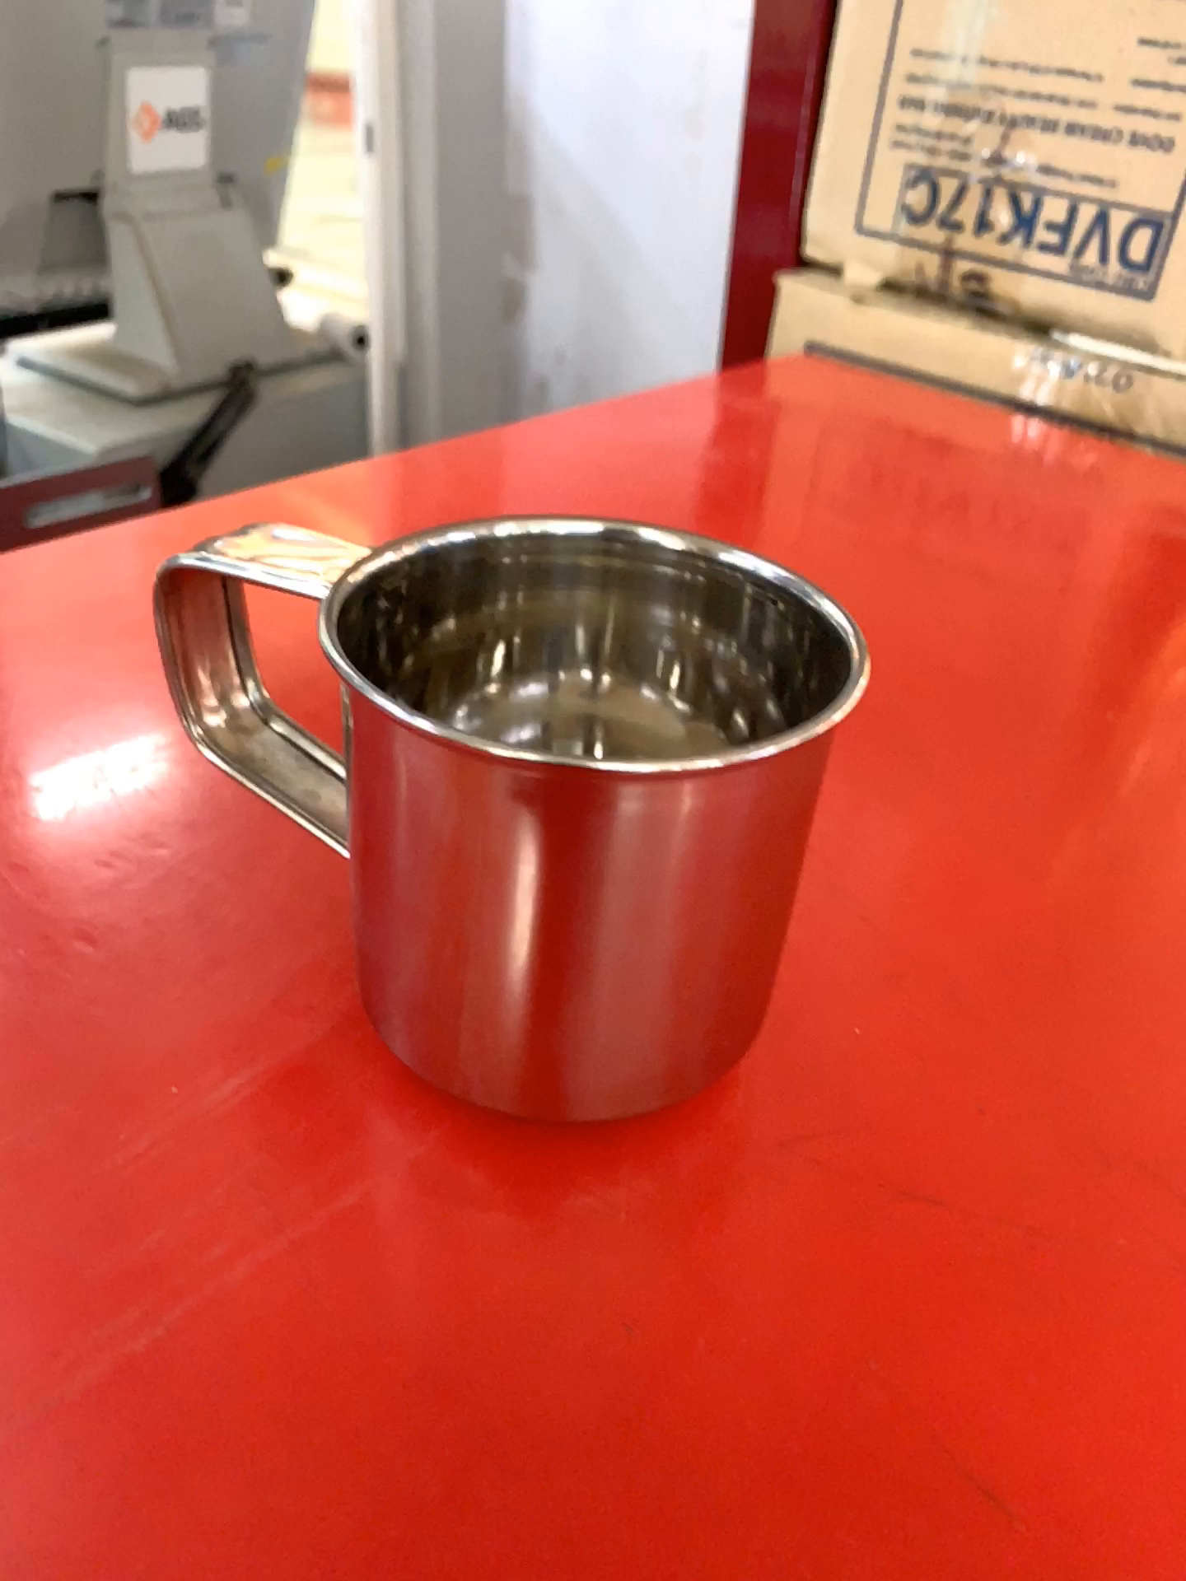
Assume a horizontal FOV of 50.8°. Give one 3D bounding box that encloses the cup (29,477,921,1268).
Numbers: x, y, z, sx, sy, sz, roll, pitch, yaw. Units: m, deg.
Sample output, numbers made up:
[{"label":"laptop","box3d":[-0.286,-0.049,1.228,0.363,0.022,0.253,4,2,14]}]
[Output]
[{"label":"cup","box3d":[-0.016,0.004,0.210,0.110,0.069,0.081,19,35,20]}]
